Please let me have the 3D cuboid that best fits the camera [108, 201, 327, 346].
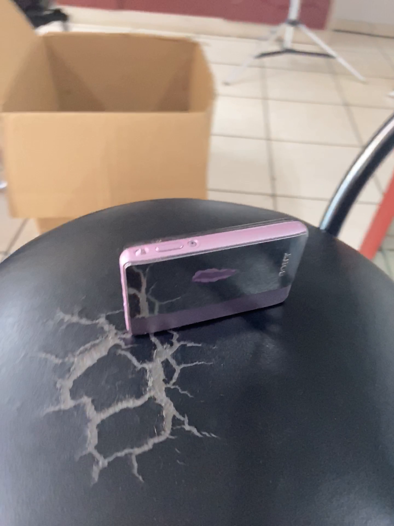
[{"bbox_3d":[0.009,0.004,0.213,0.100,0.050,0.030,-11,47,-15],"label":"camera"}]
